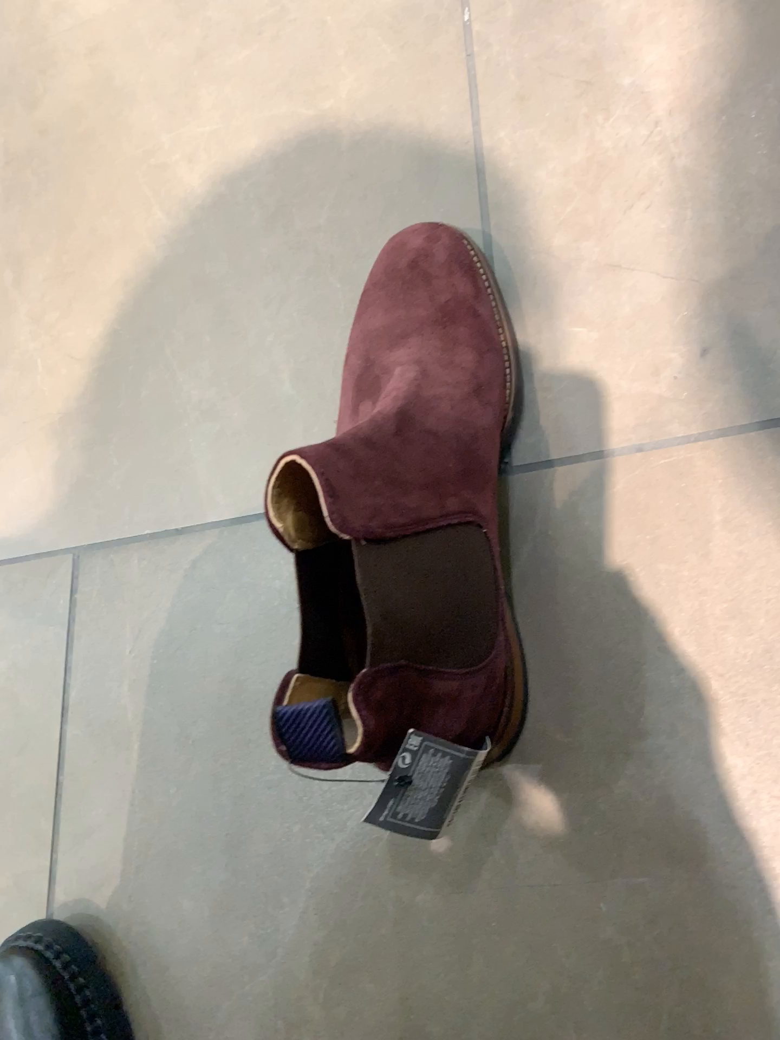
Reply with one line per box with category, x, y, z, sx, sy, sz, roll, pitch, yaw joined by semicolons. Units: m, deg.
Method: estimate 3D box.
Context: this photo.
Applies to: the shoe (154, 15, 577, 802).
shoe;-0.007;-0.034;0.372;0.114;0.162;0.298;-12;71;22
